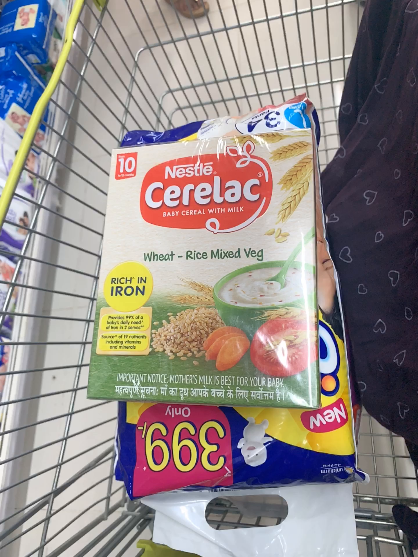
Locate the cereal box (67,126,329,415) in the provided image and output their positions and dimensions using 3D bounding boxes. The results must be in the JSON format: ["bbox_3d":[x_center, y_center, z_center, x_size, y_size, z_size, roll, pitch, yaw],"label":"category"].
[{"bbox_3d":[-0.004,-0.004,0.301,0.160,0.050,0.180,-2,74,14],"label":"cereal box"}]
